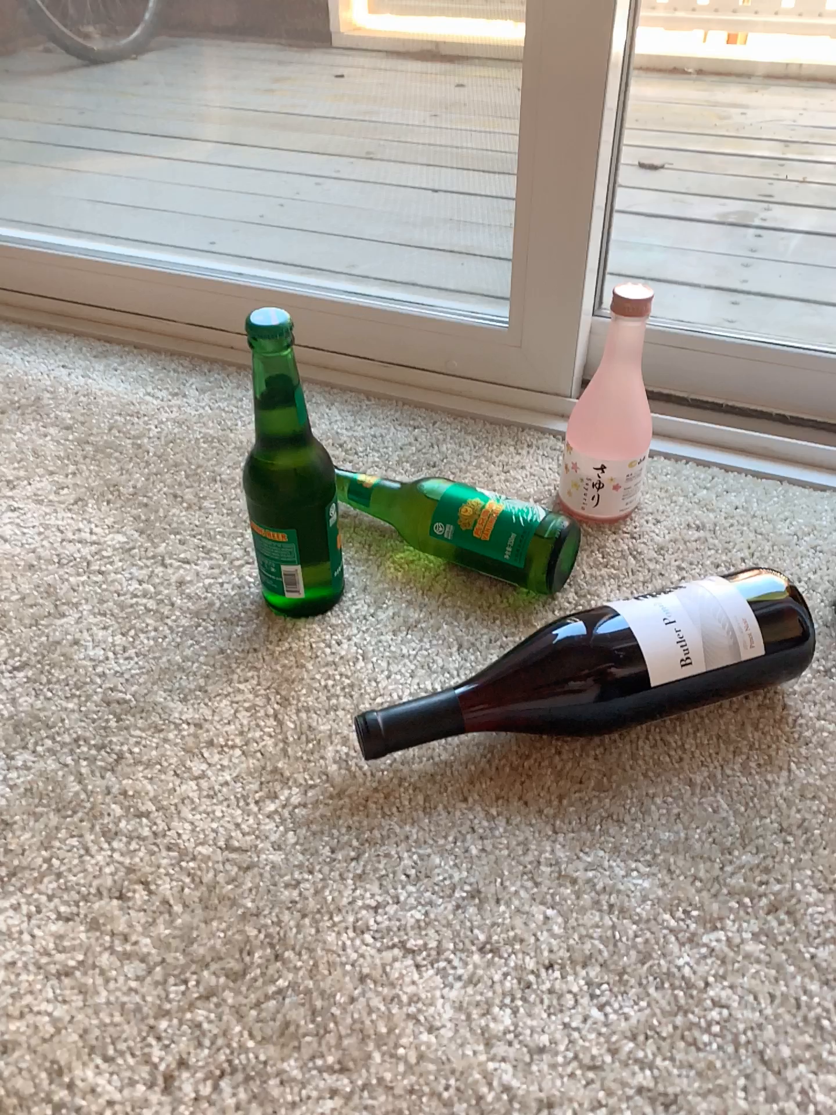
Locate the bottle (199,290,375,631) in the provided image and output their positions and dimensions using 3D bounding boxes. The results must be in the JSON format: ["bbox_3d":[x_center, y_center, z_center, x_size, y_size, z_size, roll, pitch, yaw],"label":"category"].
[{"bbox_3d":[-0.082,-0.059,0.562,0.080,0.199,0.080,0,39,0],"label":"bottle"}]

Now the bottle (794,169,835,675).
[{"bbox_3d":[0.331,-0.069,0.524,0.080,0.288,0.091,-12,40,-13],"label":"bottle"}]

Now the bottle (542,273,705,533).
[{"bbox_3d":[0.151,-0.116,0.657,0.070,0.169,0.080,-12,40,-13],"label":"bottle"}]

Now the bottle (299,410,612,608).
[{"bbox_3d":[0.023,-0.042,0.648,0.231,0.060,0.060,21,44,24],"label":"bottle"}]

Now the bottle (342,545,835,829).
[{"bbox_3d":[0.107,0.068,0.500,0.290,0.060,0.070,-13,41,-16],"label":"bottle"}]
